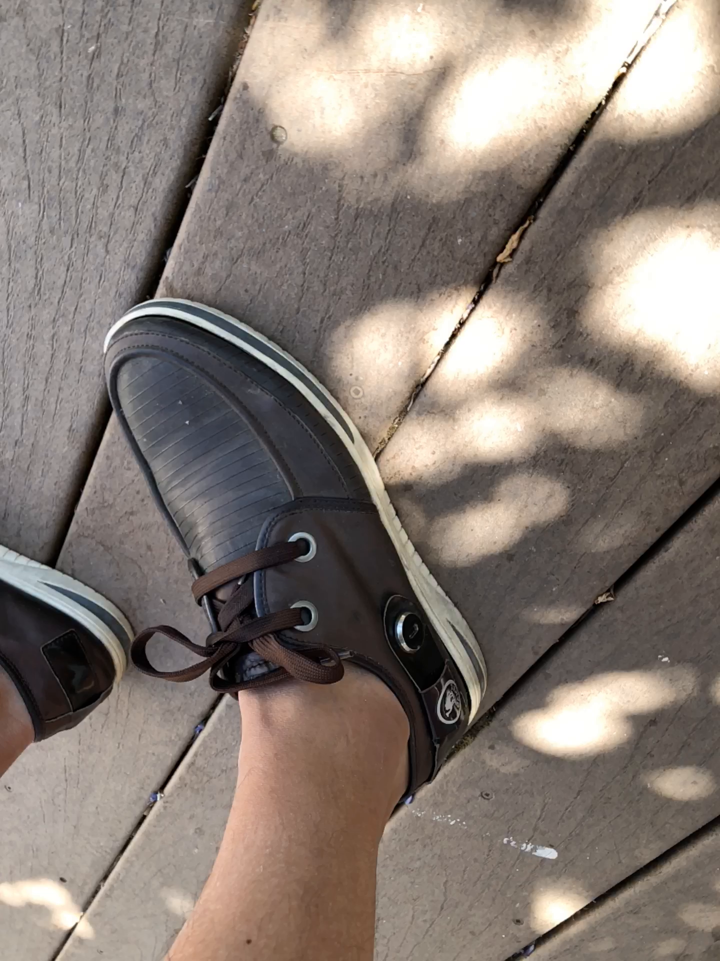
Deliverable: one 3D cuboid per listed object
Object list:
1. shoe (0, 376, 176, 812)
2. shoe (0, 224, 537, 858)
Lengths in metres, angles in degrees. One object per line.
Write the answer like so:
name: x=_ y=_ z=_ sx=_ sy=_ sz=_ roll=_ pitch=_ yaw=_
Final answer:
shoe: x=-0.269 y=0.062 z=0.471 sx=0.283 sy=0.096 sz=0.104 roll=27 pitch=123 yaw=3
shoe: x=-0.033 y=0.038 z=0.375 sx=0.104 sy=0.089 sz=0.277 roll=-25 pitch=108 yaw=28
